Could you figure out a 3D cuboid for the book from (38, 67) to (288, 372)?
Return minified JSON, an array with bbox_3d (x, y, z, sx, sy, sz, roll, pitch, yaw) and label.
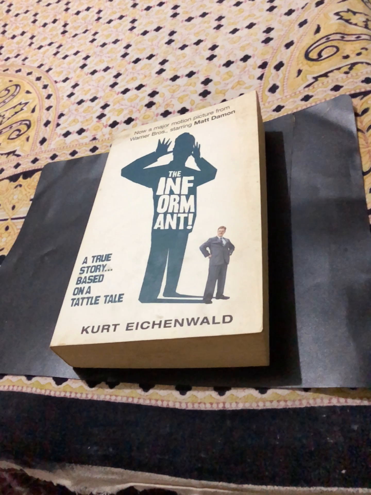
[{"bbox_3d":[-0.003,-0.030,0.310,0.140,0.050,0.230,-8,52,20],"label":"book"}]
